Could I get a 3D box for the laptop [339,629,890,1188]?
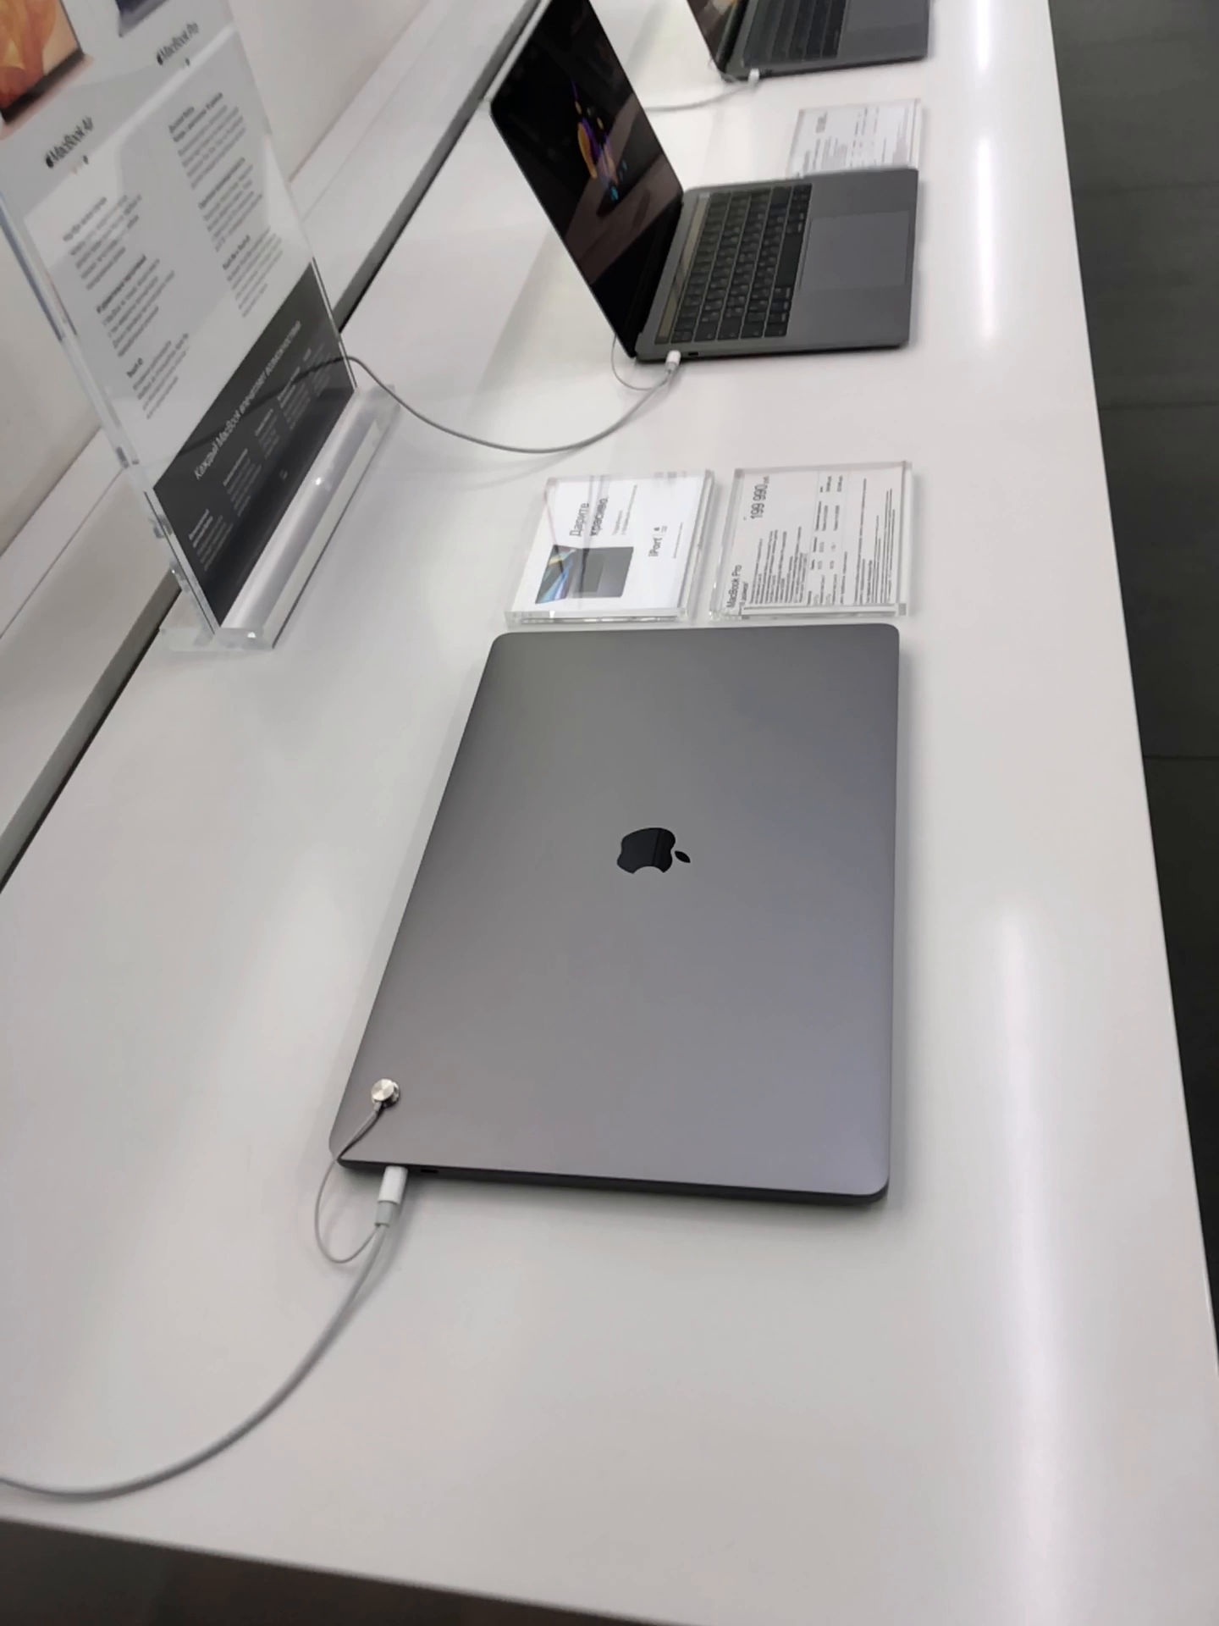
[{"bbox_3d":[0.022,0.021,0.672,0.231,0.003,0.346,1,47,12],"label":"laptop"}]
